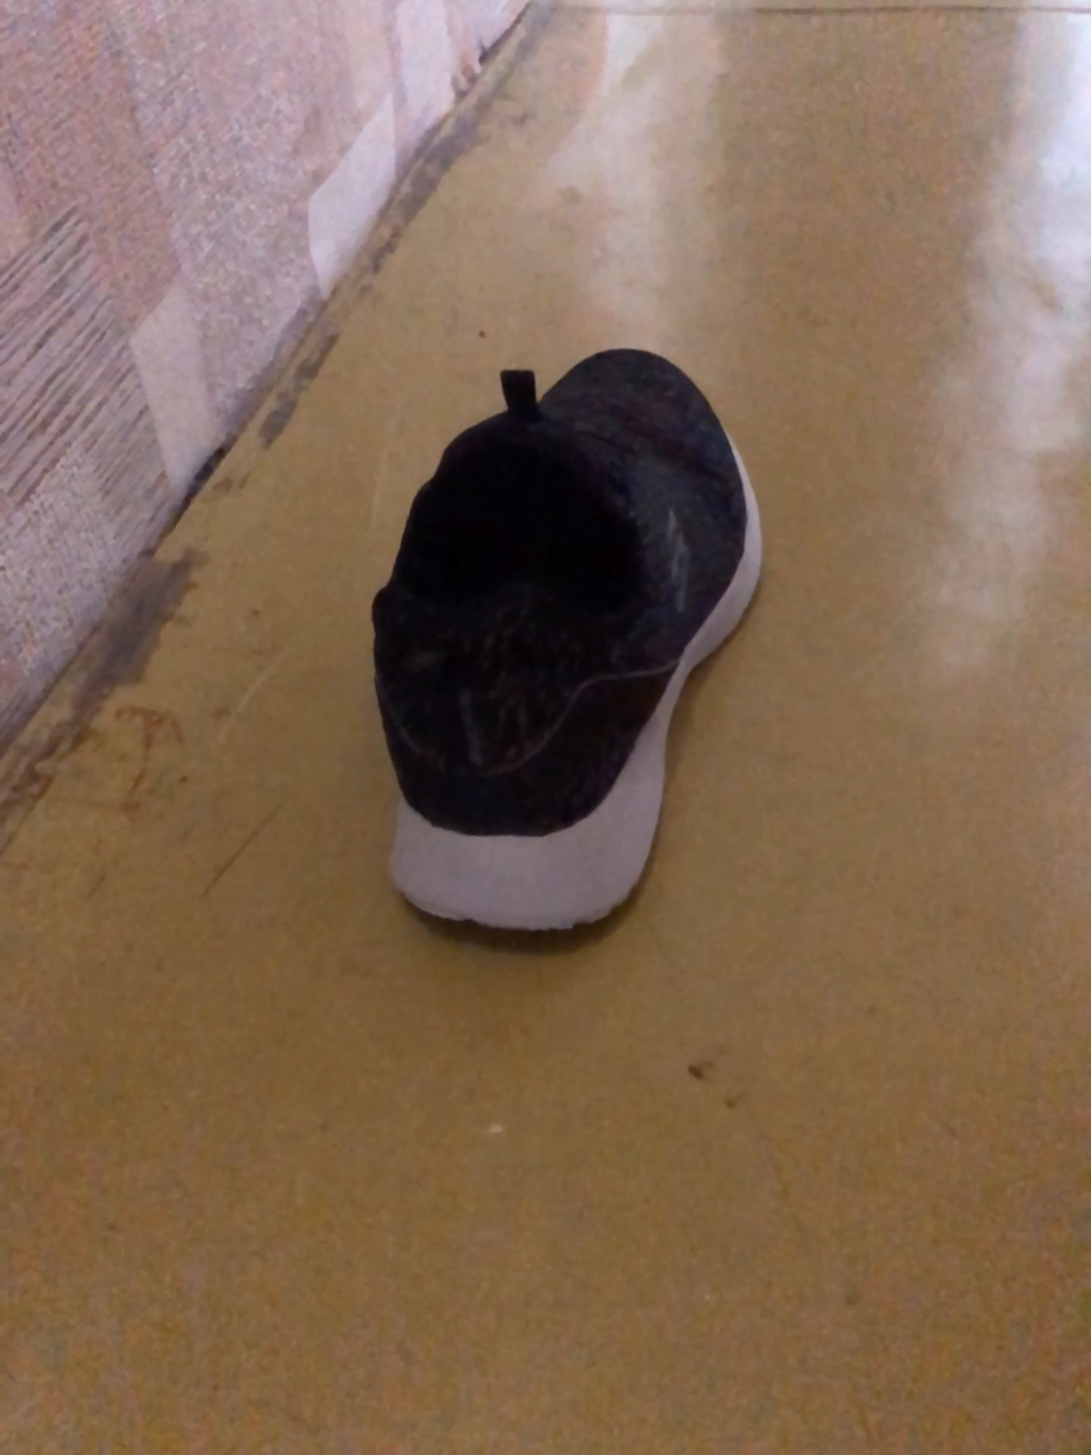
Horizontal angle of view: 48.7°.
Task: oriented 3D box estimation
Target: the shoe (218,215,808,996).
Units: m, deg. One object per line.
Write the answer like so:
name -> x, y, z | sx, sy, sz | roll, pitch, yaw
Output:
shoe -> 0.014, -0.074, 0.485 | 0.130, 0.119, 0.321 | 9, 48, 13
